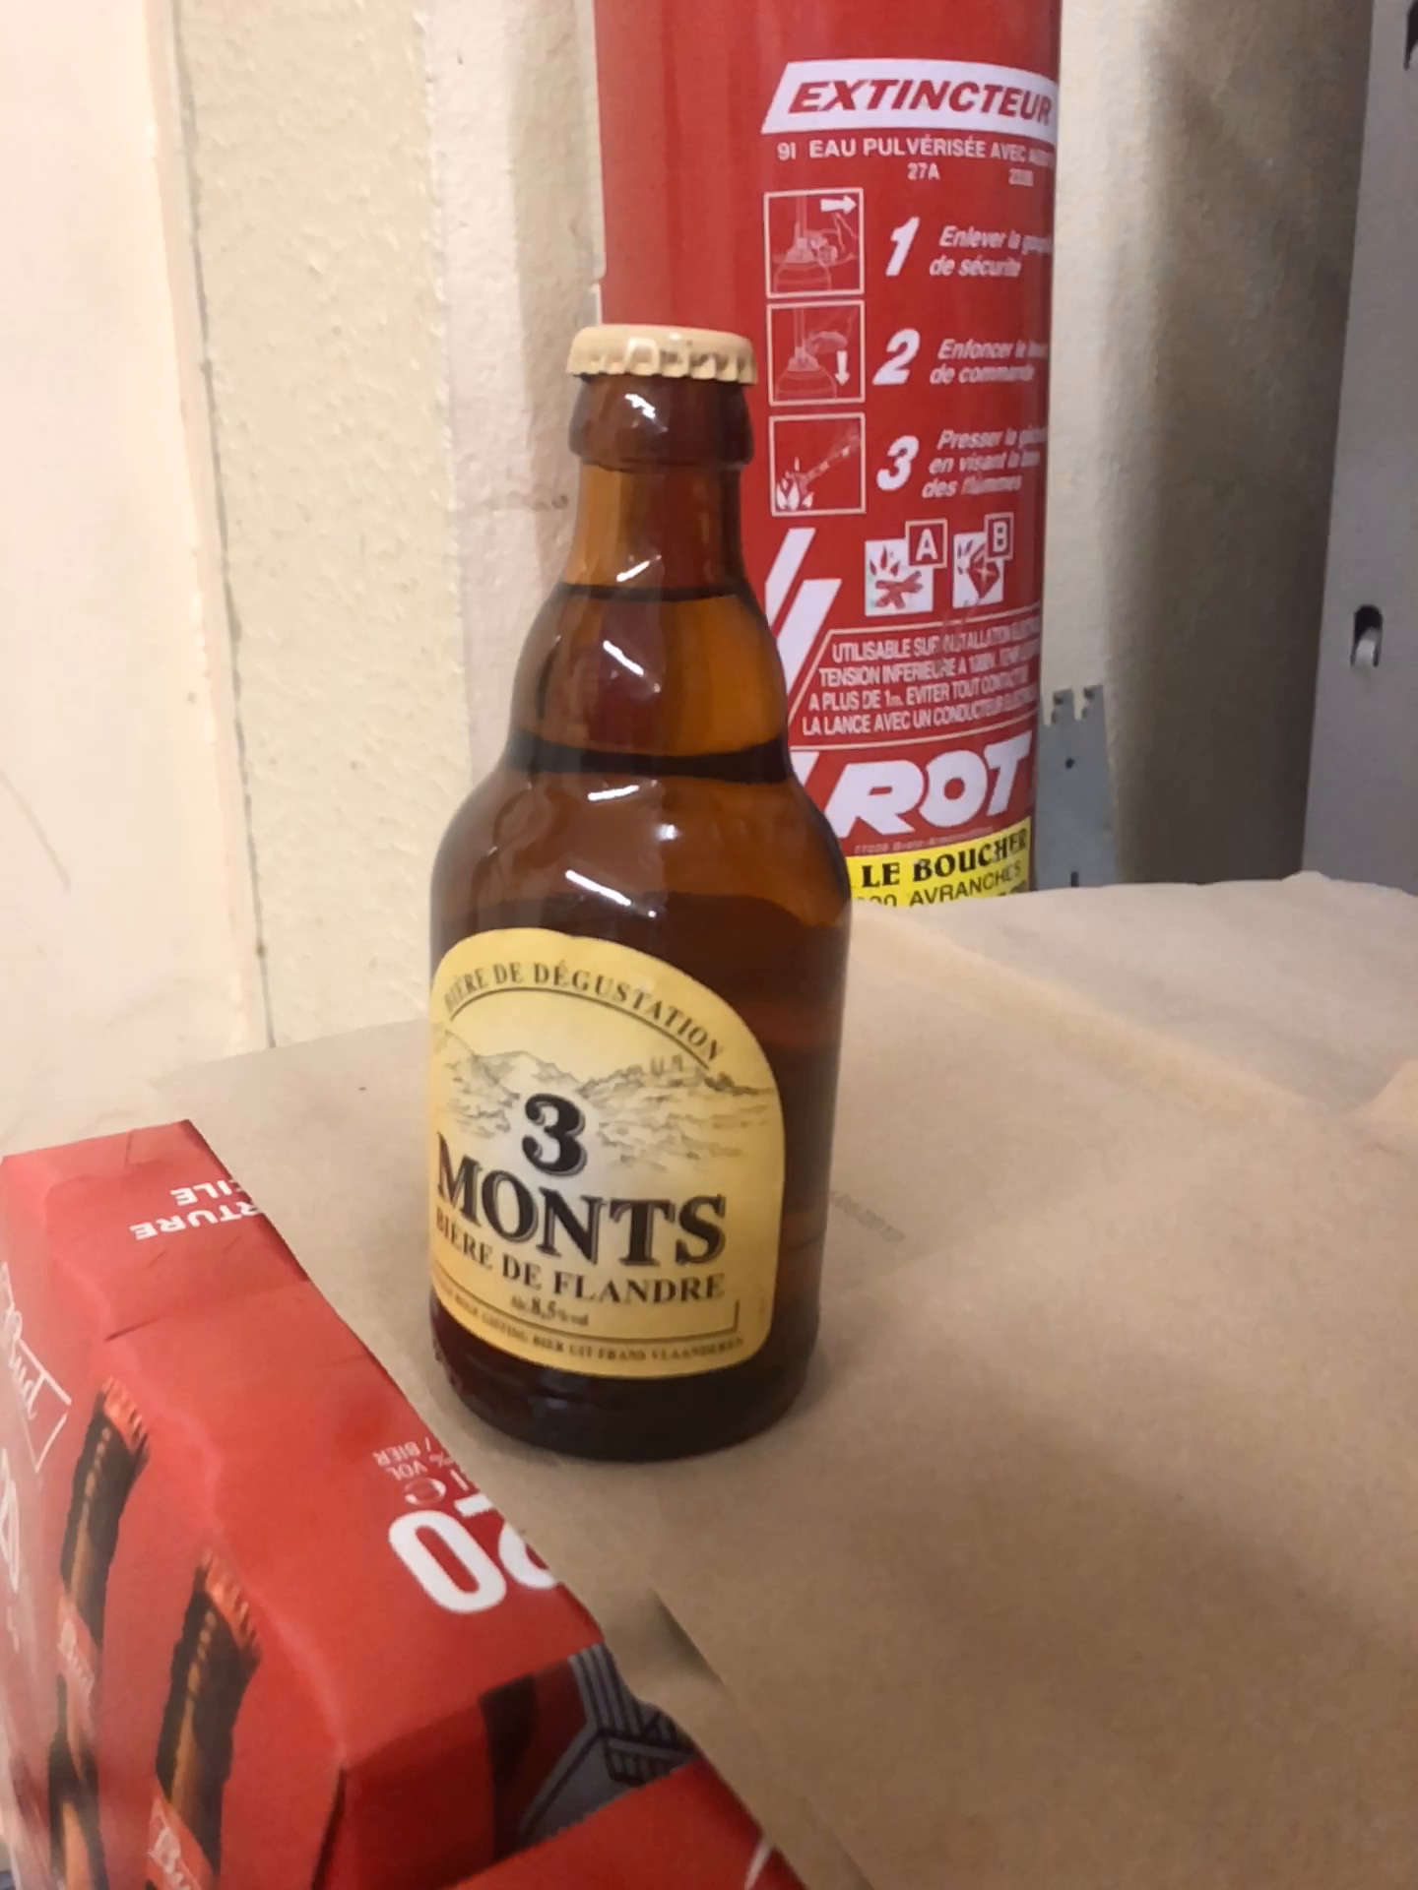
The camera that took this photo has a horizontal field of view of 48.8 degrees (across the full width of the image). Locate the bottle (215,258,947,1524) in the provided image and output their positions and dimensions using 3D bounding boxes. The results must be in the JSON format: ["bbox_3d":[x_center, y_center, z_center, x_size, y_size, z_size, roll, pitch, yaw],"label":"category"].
[{"bbox_3d":[-0.014,-0.013,0.247,0.080,0.166,0.080,1,16,0],"label":"bottle"}]
